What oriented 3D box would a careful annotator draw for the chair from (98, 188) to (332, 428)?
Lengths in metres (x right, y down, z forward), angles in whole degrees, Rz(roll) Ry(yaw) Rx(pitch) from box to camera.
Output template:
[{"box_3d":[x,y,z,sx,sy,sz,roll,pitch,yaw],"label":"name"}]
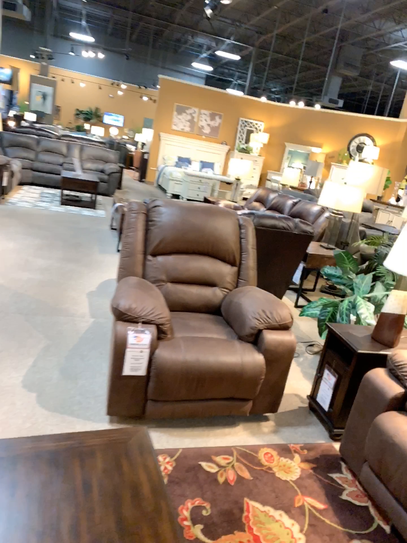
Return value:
[{"box_3d":[-0.068,0.157,2.518,1.001,1.028,1.068,6,17,-16],"label":"chair"}]
